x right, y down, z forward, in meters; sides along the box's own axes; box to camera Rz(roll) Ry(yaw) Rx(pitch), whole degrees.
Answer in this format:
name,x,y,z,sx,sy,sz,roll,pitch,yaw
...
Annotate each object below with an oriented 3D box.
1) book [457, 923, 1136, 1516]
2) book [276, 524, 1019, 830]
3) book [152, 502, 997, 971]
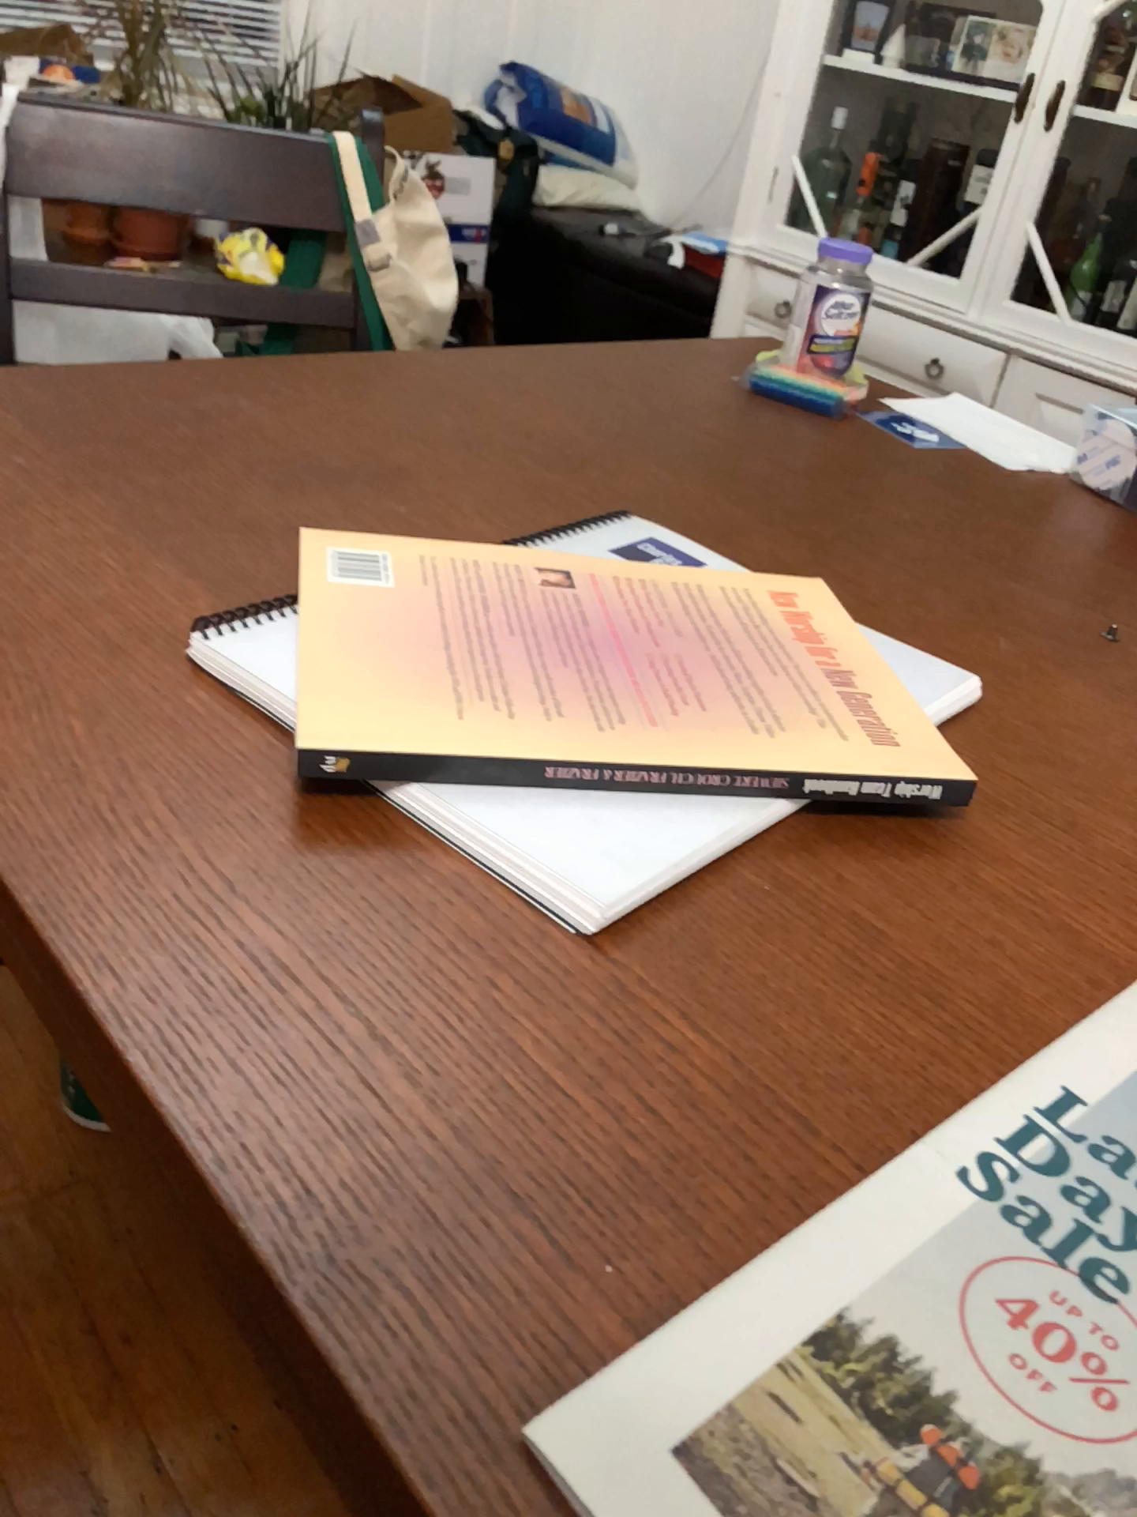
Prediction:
name,x,y,z,sx,sy,sz,roll,pitch,yaw
book,0.144,0.139,0.270,0.271,0.010,0.201,-18,41,-38
book,0.018,-0.039,0.507,0.260,0.020,0.191,2,32,-13
book,0.016,-0.038,0.539,0.230,0.020,0.291,31,36,30
